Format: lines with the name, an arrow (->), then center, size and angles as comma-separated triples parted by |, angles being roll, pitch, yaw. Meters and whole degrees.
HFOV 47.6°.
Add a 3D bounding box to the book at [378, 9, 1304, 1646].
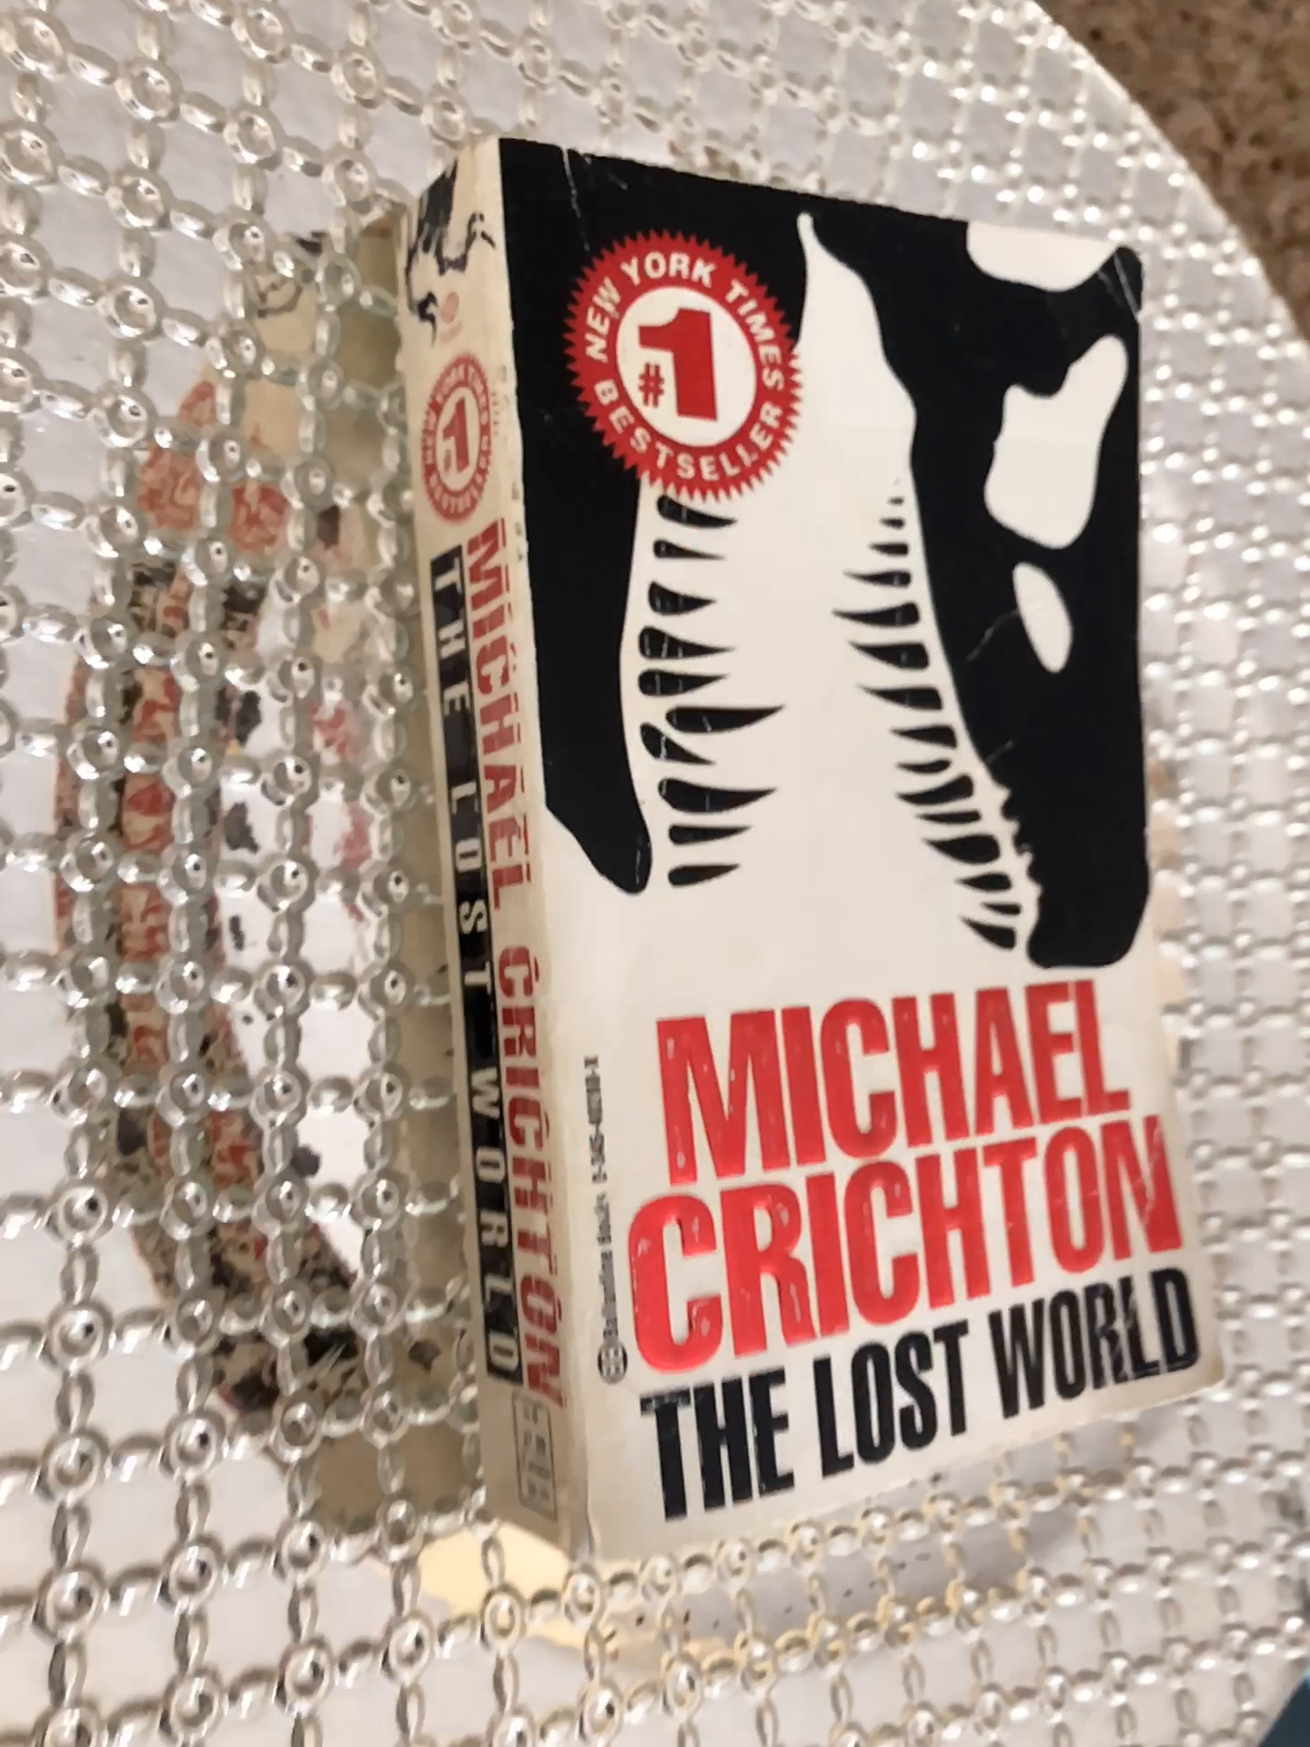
book -> 0.029, -0.008, 0.213 | 0.119, 0.040, 0.182 | -1, 85, -33
